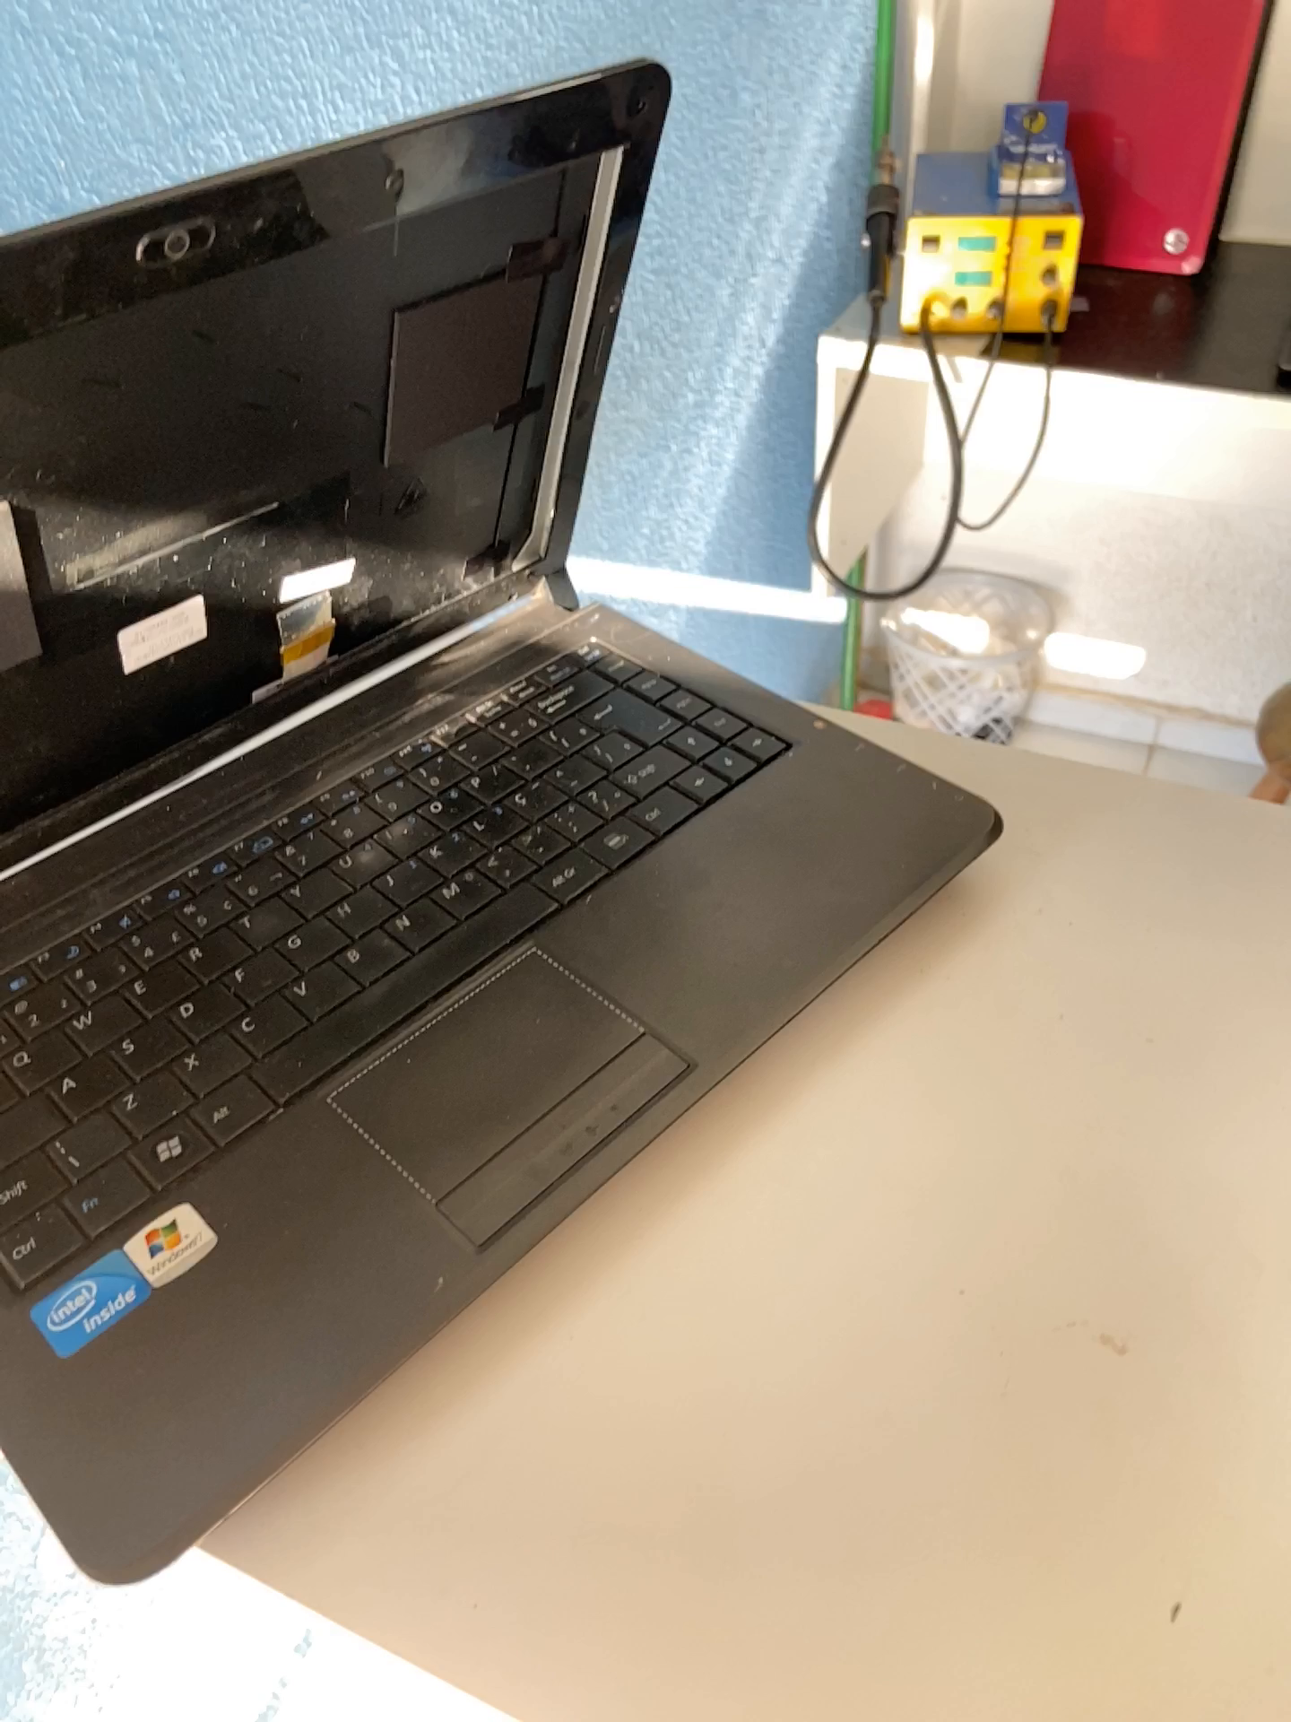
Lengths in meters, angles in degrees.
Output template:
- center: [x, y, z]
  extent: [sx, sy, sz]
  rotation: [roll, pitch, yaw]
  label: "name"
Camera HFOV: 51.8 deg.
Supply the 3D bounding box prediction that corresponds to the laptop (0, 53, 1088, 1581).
- center: [-0.077, -0.053, 0.356]
  extent: [0.331, 0.206, 0.206]
  rotation: [-35, 50, -30]
  label: "laptop"
